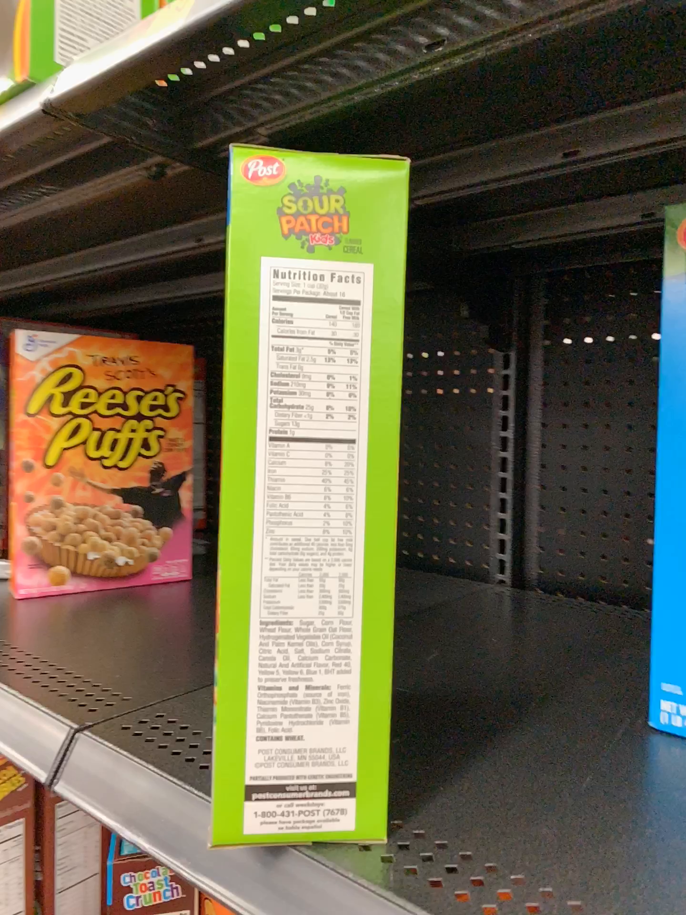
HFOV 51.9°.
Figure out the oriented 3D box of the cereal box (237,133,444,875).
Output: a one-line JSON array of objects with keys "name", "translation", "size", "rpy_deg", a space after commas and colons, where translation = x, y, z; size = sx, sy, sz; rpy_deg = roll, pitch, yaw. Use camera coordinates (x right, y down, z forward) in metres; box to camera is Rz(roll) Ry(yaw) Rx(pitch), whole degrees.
[{"name": "cereal box", "translation": [-0.012, 0.018, 0.397], "size": [0.080, 0.310, 0.200], "rpy_deg": [1, 2, -6]}]
